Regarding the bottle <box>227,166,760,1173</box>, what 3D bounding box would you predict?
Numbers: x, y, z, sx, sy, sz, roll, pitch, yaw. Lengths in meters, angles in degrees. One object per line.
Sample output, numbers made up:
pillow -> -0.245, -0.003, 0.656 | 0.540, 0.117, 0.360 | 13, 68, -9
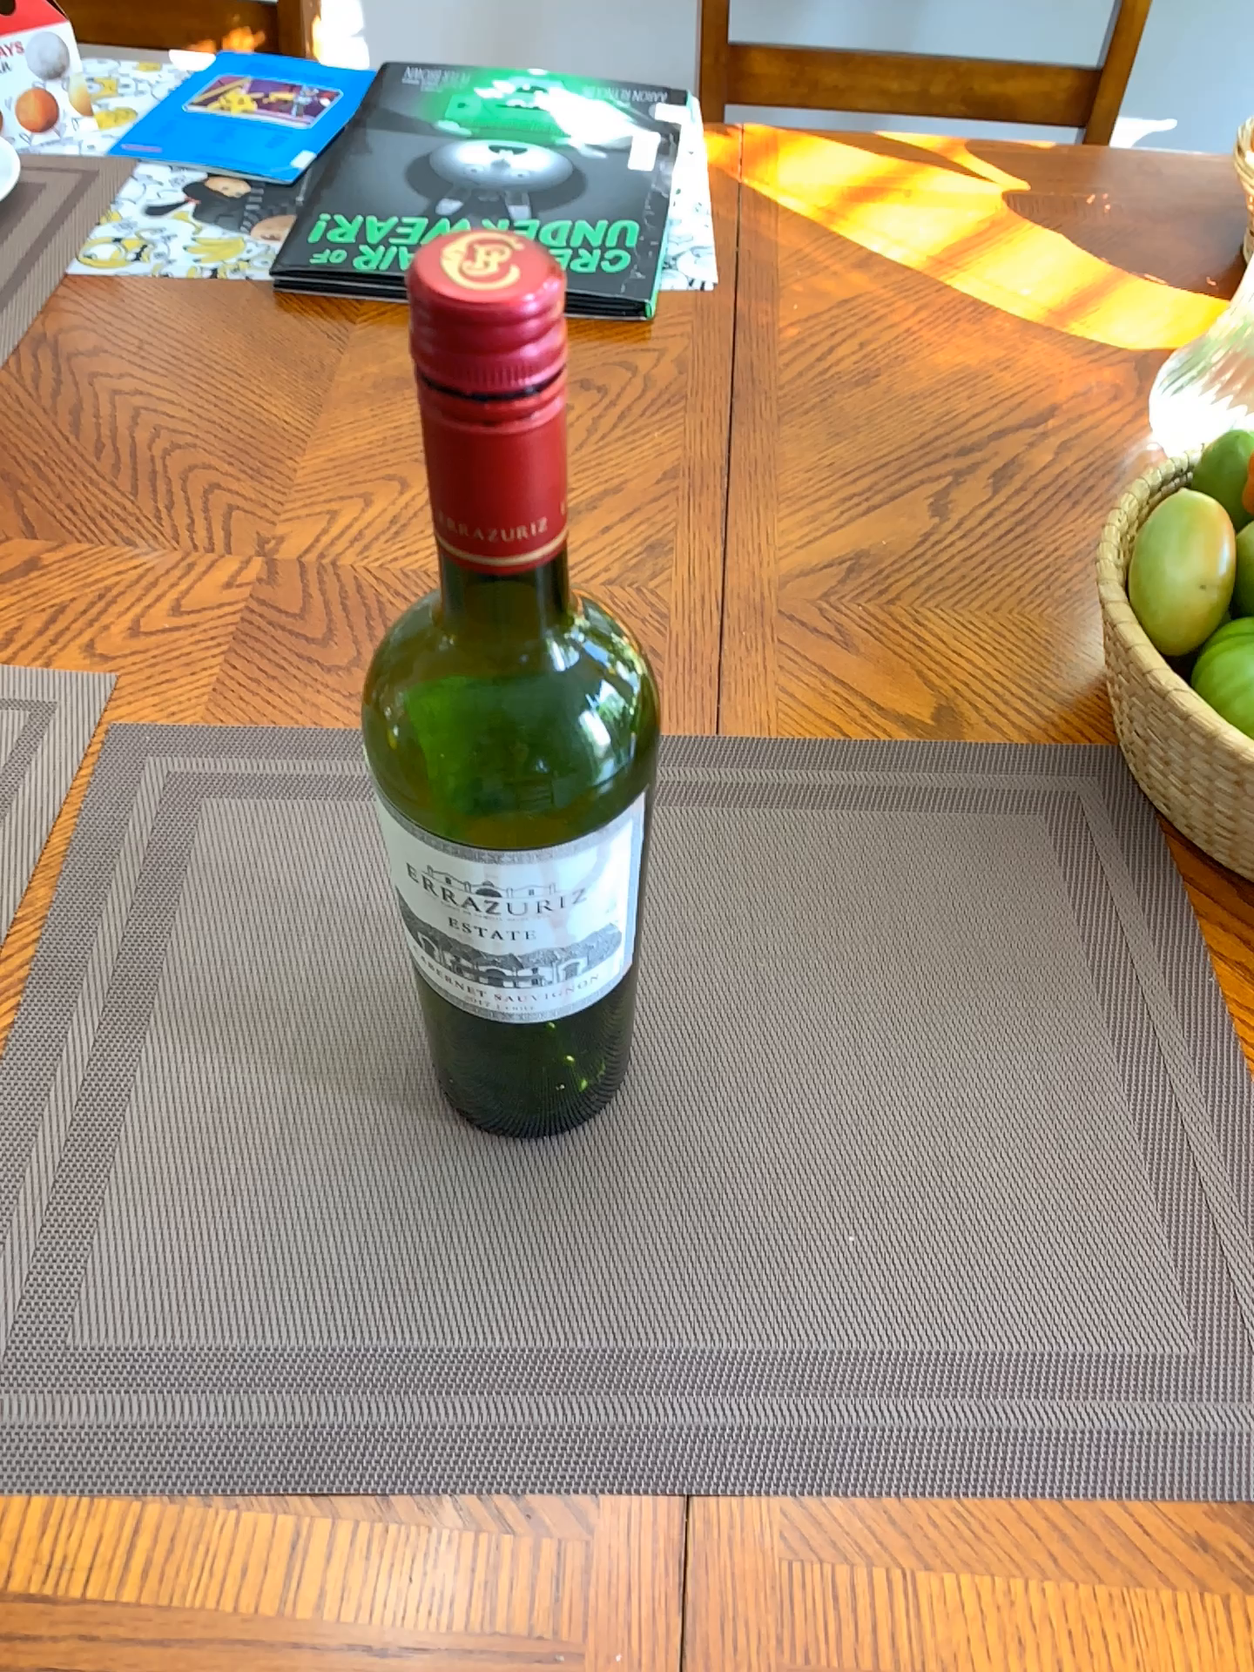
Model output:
bottle -> -0.026, -0.011, 0.367 | 0.090, 0.308, 0.081 | 6, 51, 2
